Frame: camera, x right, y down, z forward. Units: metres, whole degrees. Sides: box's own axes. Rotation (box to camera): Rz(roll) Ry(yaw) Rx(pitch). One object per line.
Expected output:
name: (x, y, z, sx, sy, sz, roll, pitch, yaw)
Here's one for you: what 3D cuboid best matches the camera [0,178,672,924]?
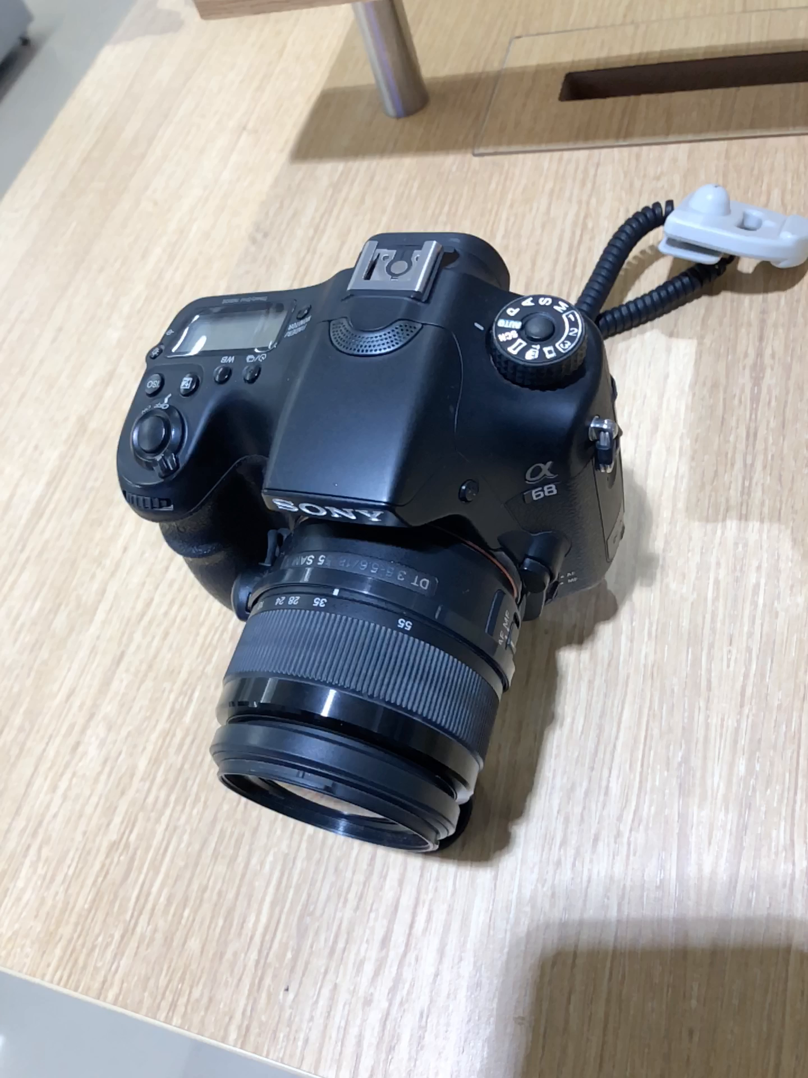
camera: (-0.020, -0.003, 0.210, 0.140, 0.080, 0.130, 5, 61, 22)
